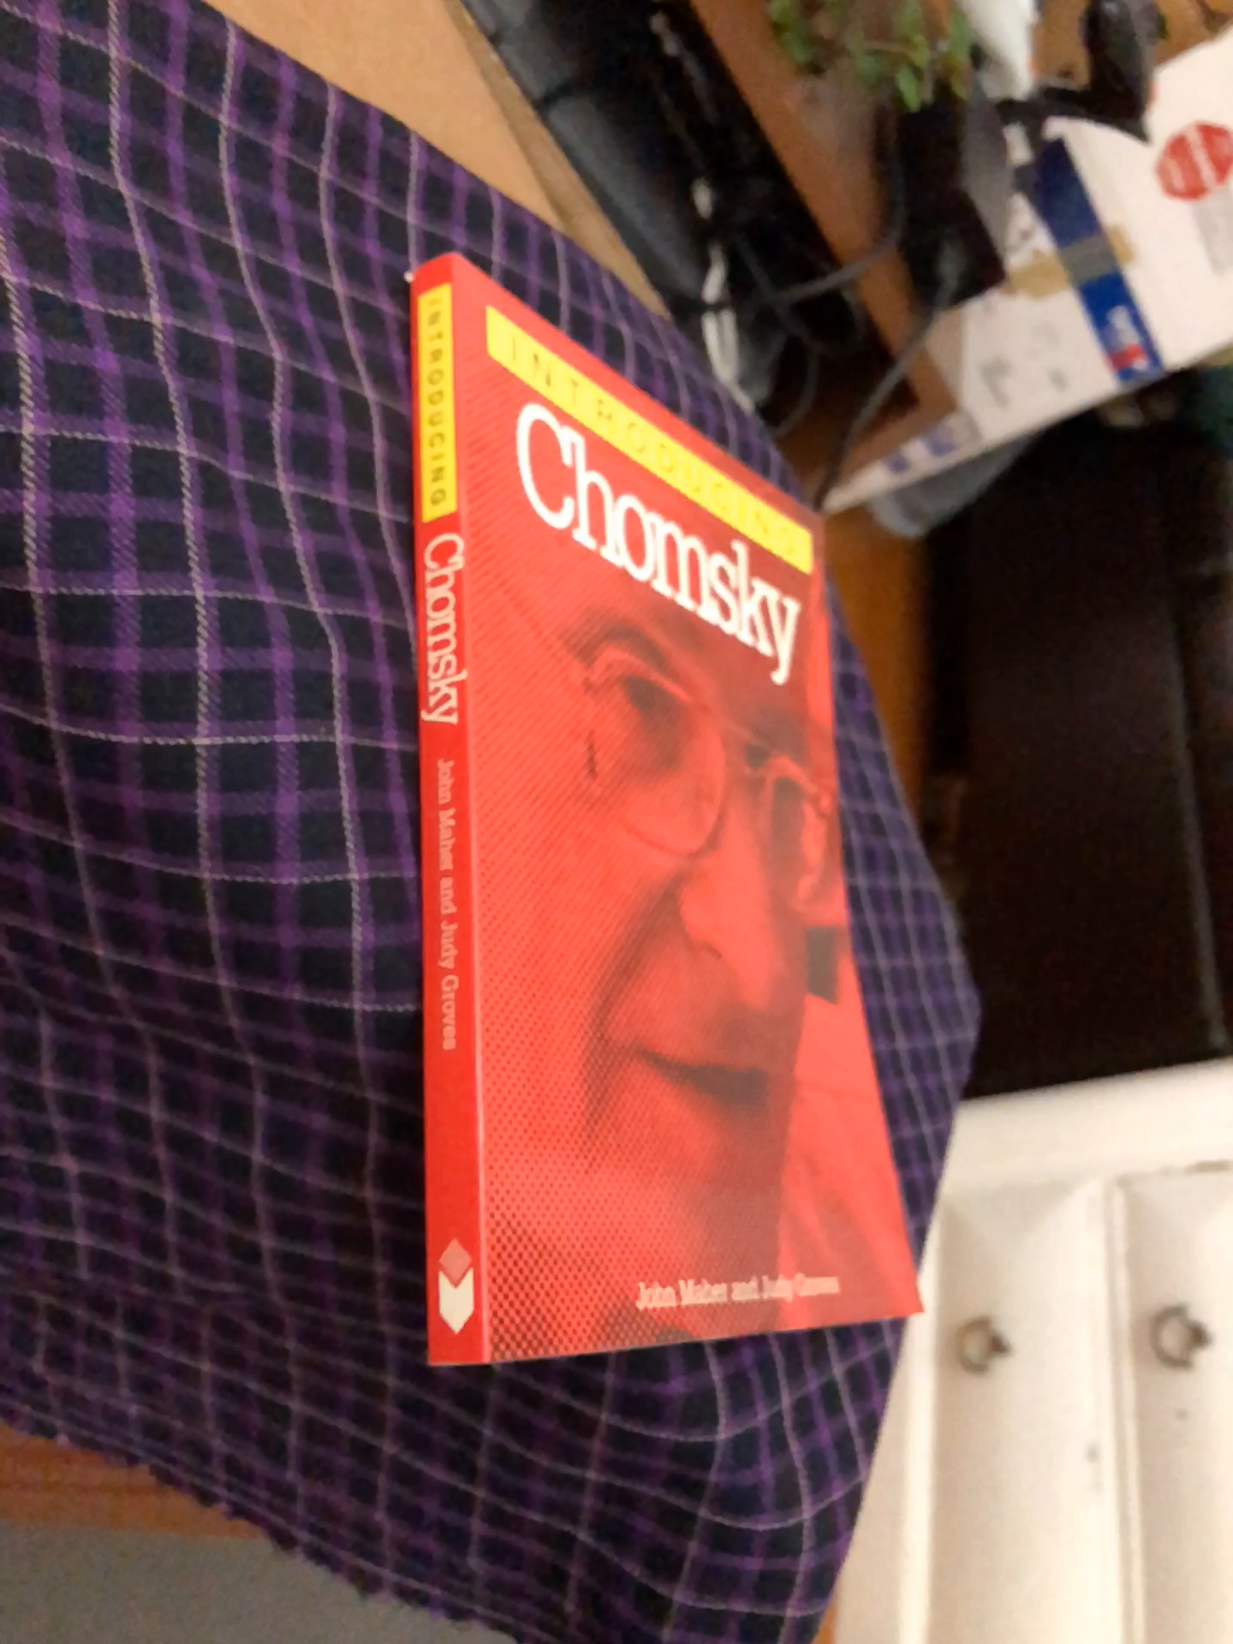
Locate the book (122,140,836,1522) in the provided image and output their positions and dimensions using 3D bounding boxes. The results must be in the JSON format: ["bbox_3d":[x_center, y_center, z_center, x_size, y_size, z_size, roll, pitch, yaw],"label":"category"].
[{"bbox_3d":[-0.020,0.003,0.303,0.181,0.020,0.240,19,59,-51],"label":"book"}]
